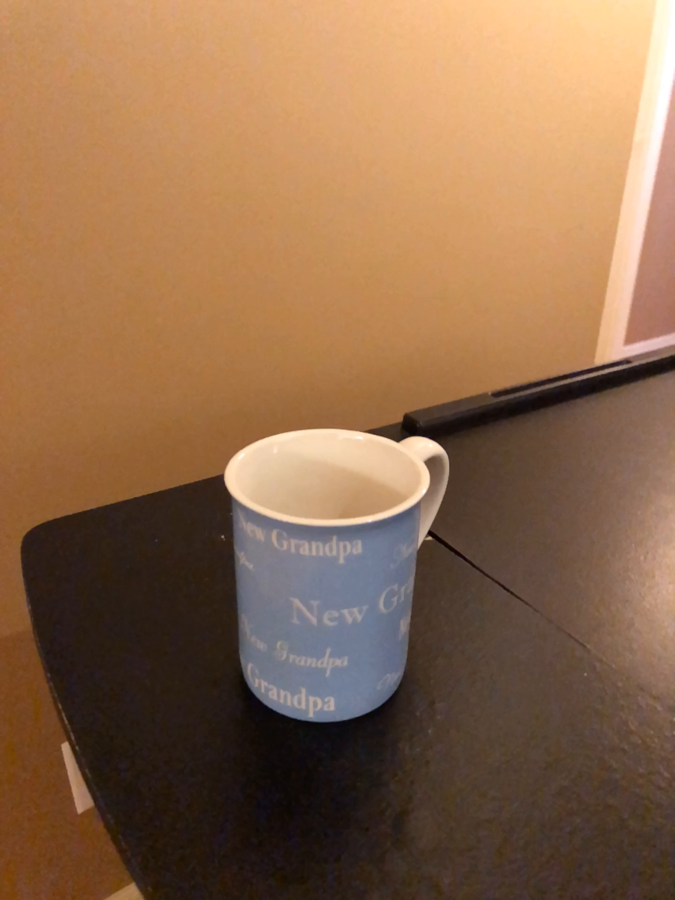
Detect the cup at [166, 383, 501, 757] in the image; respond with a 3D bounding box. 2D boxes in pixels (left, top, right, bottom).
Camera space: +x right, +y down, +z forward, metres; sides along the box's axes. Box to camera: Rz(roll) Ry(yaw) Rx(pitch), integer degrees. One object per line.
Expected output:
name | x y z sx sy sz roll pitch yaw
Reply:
cup | 0.002 0.047 0.372 0.100 0.109 0.130 17 30 31
